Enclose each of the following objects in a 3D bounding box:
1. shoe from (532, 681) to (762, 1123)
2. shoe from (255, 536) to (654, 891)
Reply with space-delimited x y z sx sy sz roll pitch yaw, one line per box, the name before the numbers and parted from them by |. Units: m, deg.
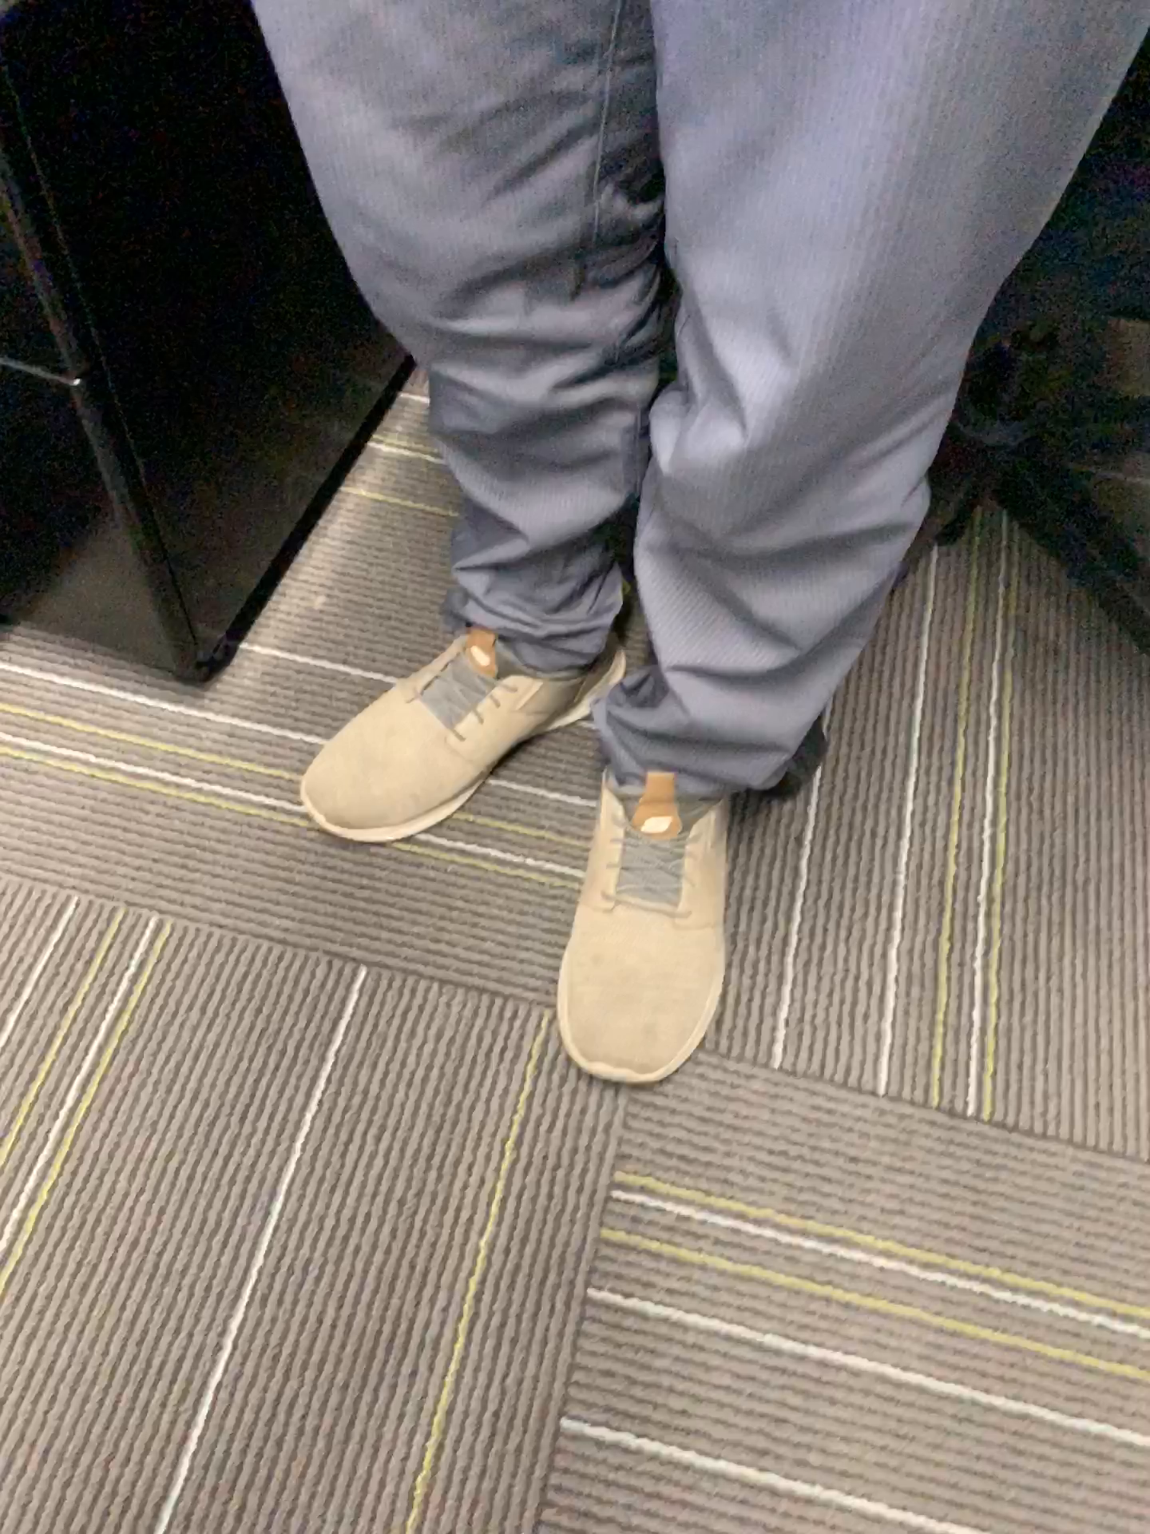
shoe | 0.058 0.094 0.890 0.126 0.098 0.303 10 57 2
shoe | -0.088 -0.048 0.938 0.302 0.098 0.107 -36 67 -23
